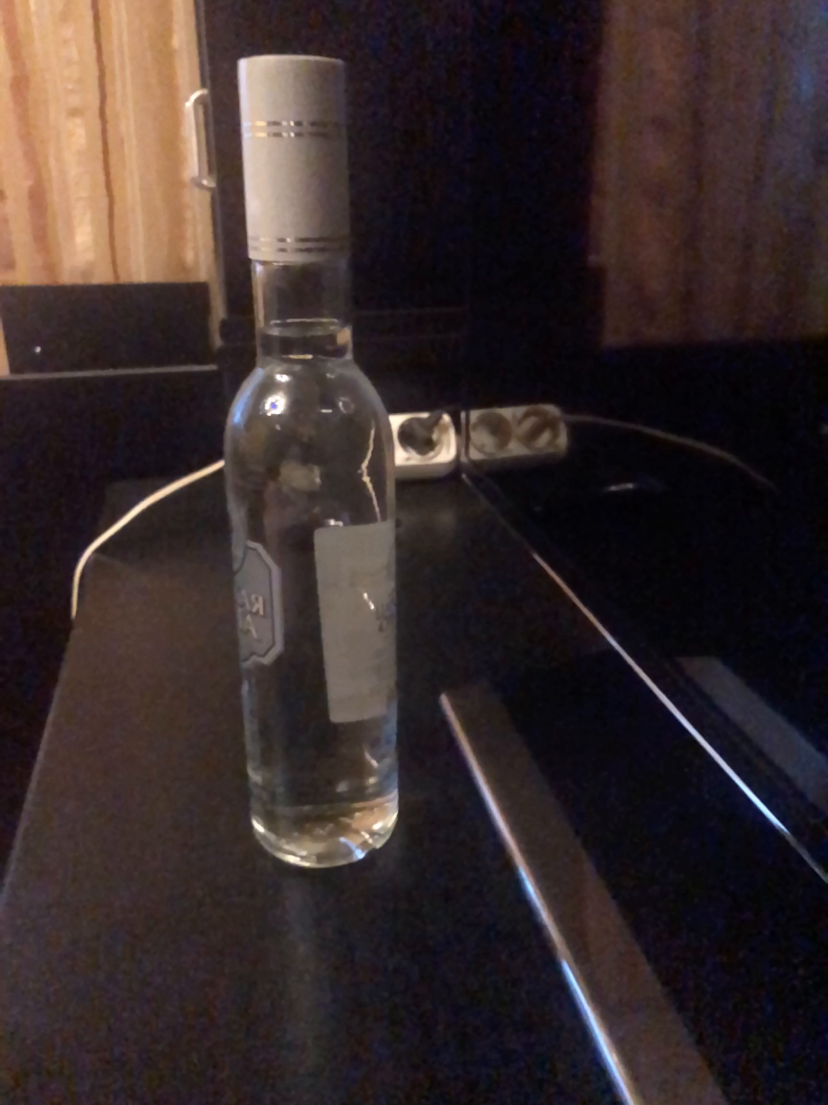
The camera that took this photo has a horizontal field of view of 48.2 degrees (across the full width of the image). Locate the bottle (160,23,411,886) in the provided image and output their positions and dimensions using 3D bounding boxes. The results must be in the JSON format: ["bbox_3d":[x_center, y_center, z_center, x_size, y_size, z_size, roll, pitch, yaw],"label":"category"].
[{"bbox_3d":[-0.040,-0.021,0.337,0.067,0.290,0.065,0,21,0],"label":"bottle"}]
